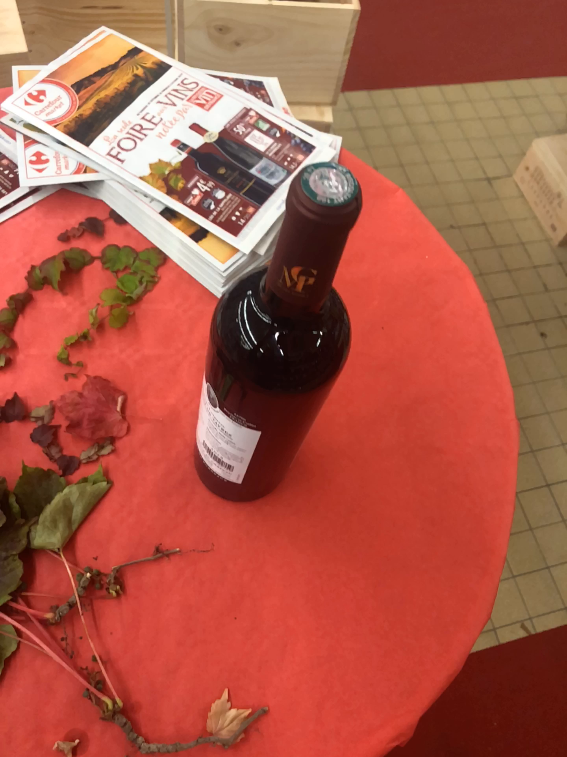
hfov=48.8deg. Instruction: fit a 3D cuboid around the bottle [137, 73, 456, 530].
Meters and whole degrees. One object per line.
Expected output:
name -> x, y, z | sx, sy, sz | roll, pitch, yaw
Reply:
bottle -> -0.015, -0.009, 0.368 | 0.090, 0.299, 0.090 | 3, 62, -7
